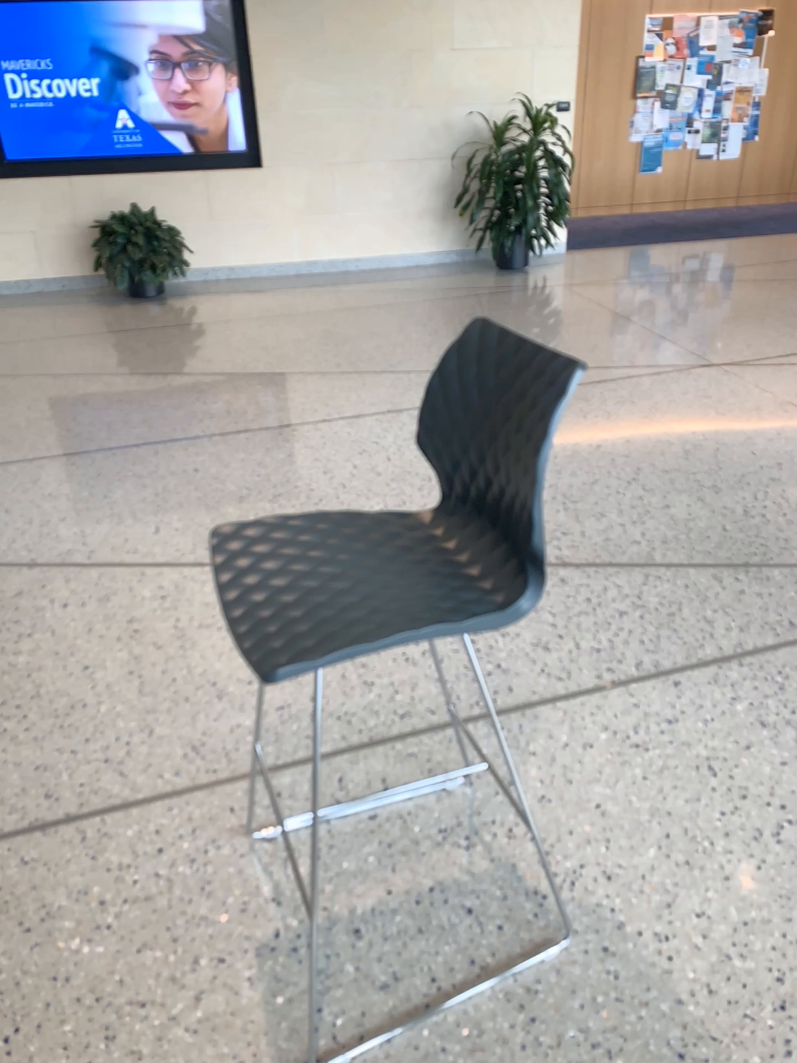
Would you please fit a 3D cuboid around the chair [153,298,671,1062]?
[{"bbox_3d":[-0.015,0.233,1.304,0.547,1.049,0.535,-10,28,-15],"label":"chair"}]
